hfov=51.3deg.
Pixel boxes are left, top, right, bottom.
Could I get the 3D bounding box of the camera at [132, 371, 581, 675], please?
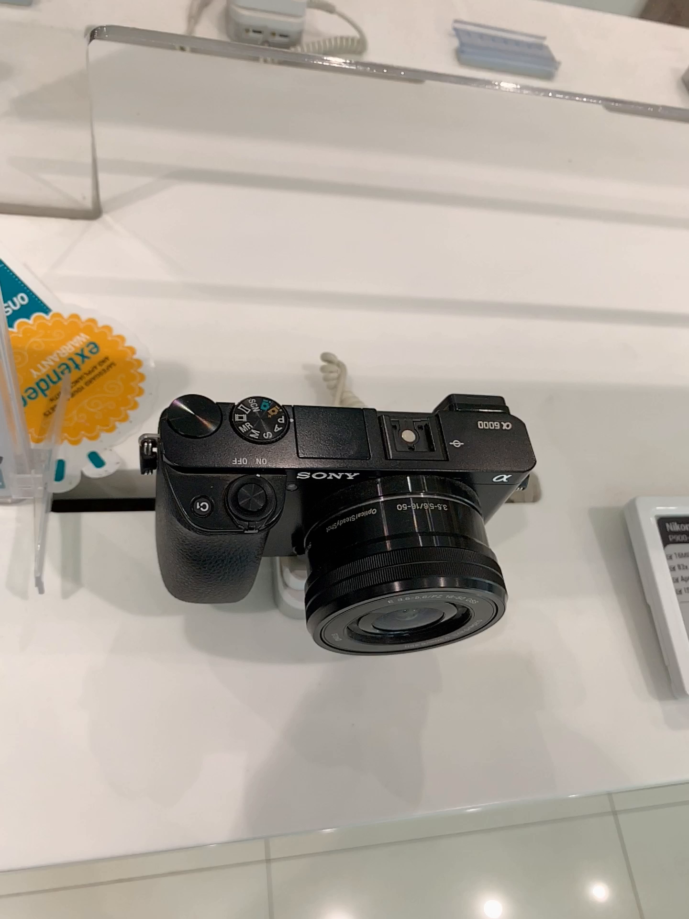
[{"bbox_3d":[-0.004,0.020,0.201,0.104,0.063,0.058,0,60,-15],"label":"camera"}]
